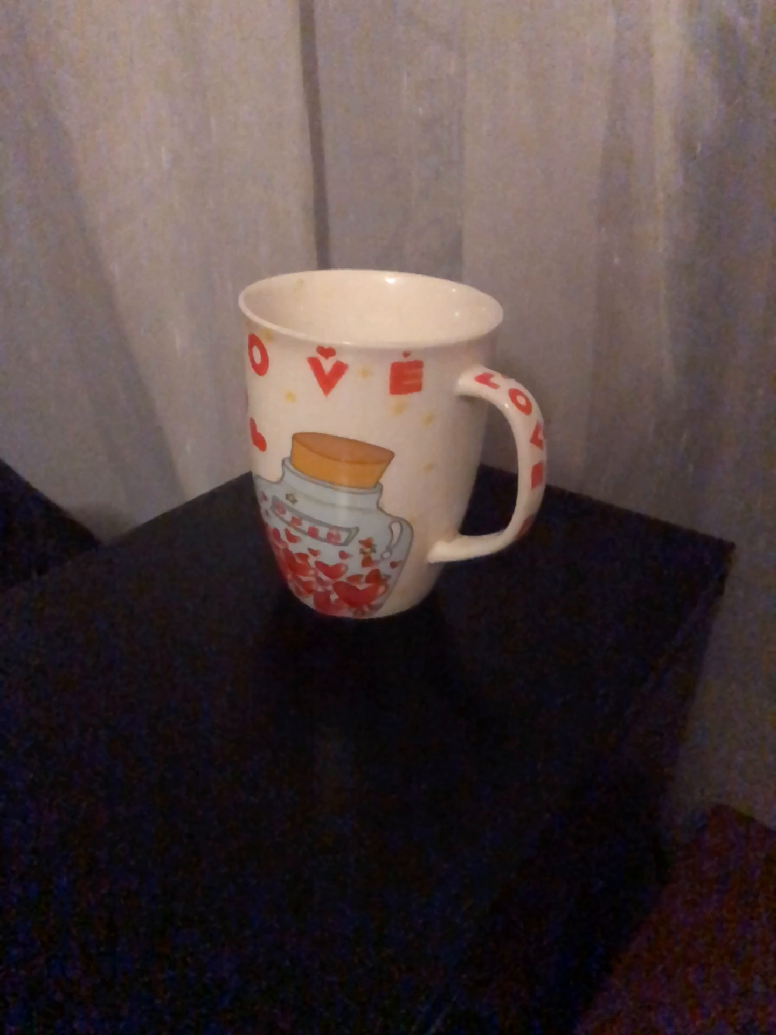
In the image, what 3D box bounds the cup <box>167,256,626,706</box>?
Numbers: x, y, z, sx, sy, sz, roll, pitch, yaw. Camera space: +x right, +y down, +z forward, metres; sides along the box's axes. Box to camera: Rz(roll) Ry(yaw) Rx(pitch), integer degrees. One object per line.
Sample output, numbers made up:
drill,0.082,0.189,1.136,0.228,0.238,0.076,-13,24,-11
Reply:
cup,0.001,-0.021,0.278,0.111,0.098,0.079,19,32,30
